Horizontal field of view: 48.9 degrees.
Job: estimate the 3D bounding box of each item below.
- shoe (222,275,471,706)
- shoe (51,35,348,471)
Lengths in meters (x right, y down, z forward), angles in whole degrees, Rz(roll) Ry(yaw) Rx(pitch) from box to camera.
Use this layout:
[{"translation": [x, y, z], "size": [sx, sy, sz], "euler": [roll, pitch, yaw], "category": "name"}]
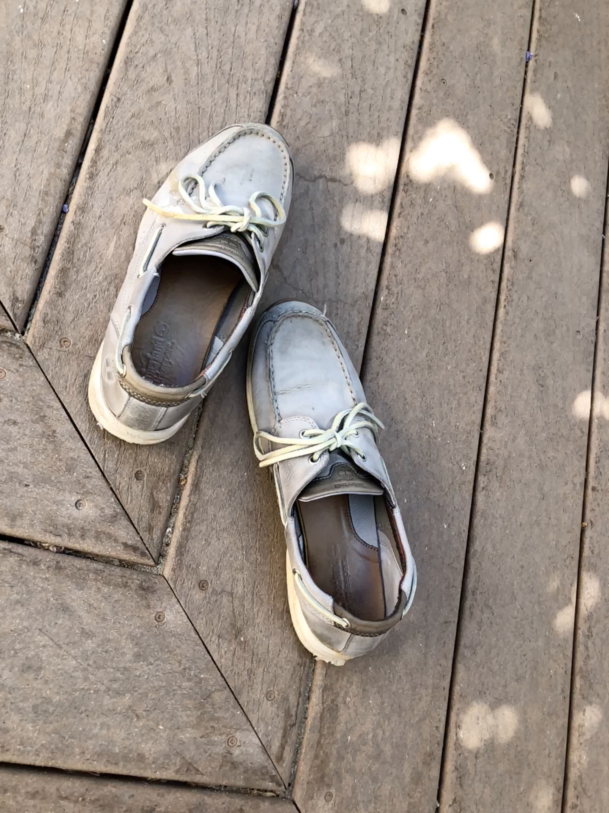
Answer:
[{"translation": [0.027, 0.059, 0.554], "size": [0.120, 0.109, 0.310], "euler": [-5, 81, -26], "category": "shoe"}, {"translation": [-0.079, -0.120, 0.540], "size": [0.116, 0.099, 0.314], "euler": [25, 69, -19], "category": "shoe"}]
